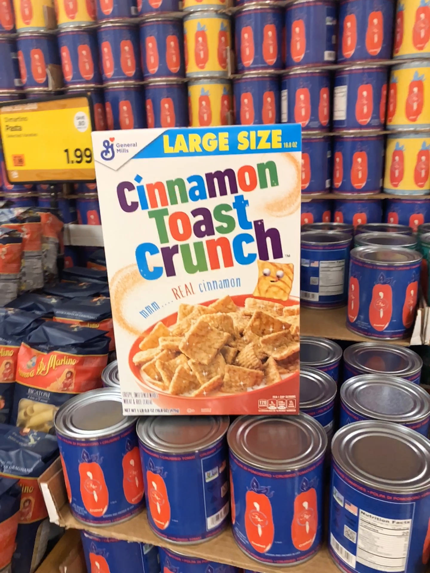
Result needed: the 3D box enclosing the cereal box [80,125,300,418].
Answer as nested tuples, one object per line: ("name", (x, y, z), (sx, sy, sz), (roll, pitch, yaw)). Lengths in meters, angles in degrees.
("cereal box", (-0.015, -0.010, 0.504), (0.200, 0.298, 0.070), (-1, 17, 5))
